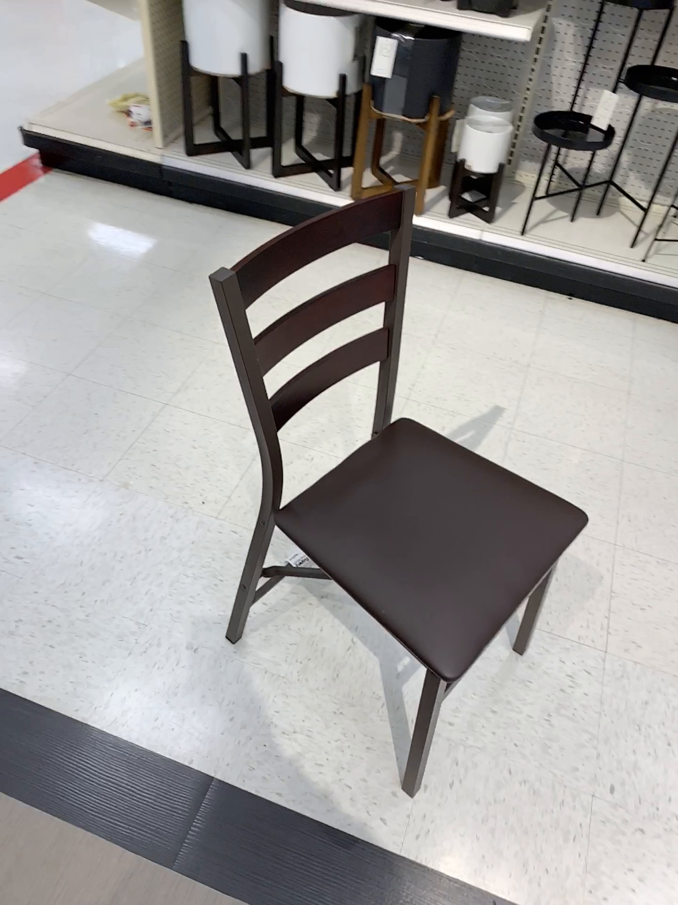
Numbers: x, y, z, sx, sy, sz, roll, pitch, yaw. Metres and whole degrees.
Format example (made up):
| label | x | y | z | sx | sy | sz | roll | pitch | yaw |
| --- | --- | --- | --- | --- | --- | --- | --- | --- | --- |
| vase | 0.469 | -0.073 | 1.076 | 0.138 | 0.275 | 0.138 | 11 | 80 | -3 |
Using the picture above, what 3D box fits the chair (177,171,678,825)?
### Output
| label | x | y | z | sx | sy | sz | roll | pitch | yaw |
| --- | --- | --- | --- | --- | --- | --- | --- | --- | --- |
| chair | 0.118 | 0.101 | 1.119 | 0.521 | 0.826 | 0.441 | 35 | 52 | 26 |
